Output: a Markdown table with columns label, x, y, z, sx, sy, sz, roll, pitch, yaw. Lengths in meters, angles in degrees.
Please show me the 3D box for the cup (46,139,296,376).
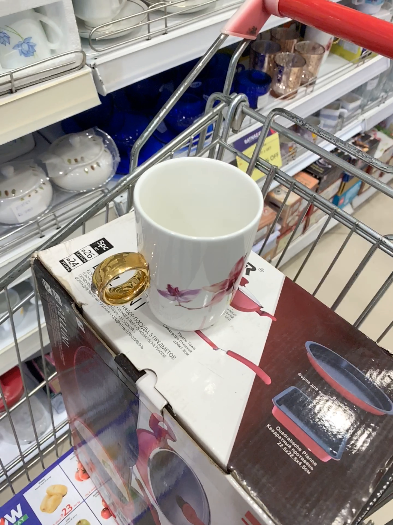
| label | x | y | z | sx | sy | sz | roll | pitch | yaw |
| --- | --- | --- | --- | --- | --- | --- | --- | --- | --- |
| cup | -0.016 | -0.005 | 0.244 | 0.110 | 0.090 | 0.070 | -20 | 54 | -20 |
